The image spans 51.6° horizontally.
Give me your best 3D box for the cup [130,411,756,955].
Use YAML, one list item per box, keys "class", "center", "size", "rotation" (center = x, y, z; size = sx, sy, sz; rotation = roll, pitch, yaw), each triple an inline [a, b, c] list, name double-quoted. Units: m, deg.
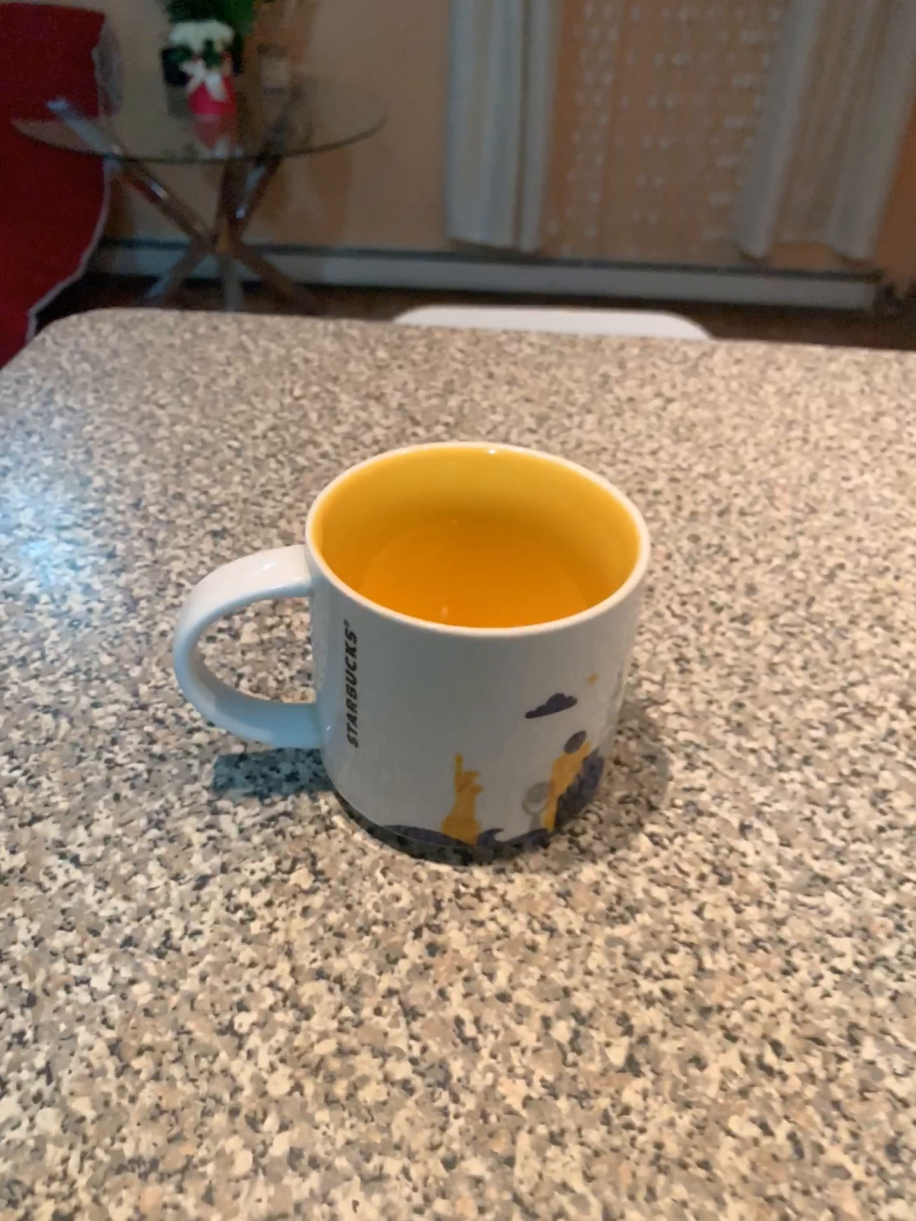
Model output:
- class: "cup"
  center: [-0.012, 0.013, 0.272]
  size: [0.139, 0.087, 0.103]
  rotation: [-9, 40, -14]
